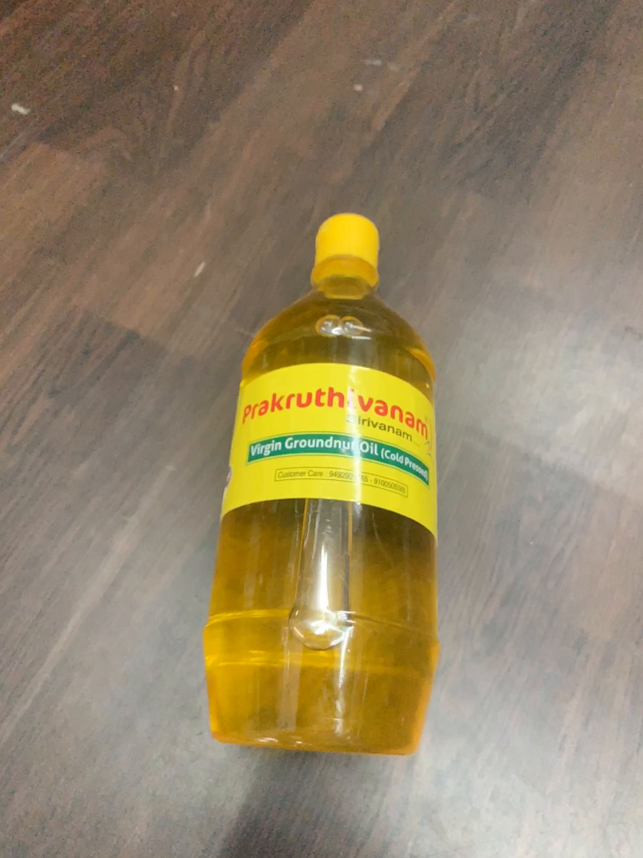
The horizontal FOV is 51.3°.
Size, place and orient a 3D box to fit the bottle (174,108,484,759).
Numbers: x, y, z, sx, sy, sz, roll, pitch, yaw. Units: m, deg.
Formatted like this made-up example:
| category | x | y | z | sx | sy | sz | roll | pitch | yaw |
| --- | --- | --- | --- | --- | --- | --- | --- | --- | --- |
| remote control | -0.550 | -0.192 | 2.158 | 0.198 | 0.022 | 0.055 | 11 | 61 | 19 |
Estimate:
| category | x | y | z | sx | sy | sz | roll | pitch | yaw |
| --- | --- | --- | --- | --- | --- | --- | --- | --- | --- |
| bottle | 0.009 | -0.008 | 0.286 | 0.090 | 0.080 | 0.260 | 6 | 64 | -3 |
